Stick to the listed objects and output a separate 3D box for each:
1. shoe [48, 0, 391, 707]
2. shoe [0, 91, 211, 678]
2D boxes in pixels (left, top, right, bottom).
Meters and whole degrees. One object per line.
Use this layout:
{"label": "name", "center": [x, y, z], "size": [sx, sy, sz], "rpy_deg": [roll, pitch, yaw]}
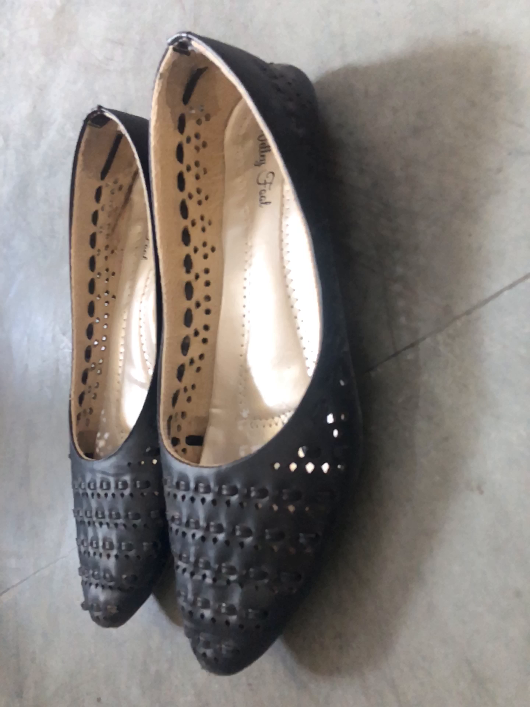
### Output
{"label": "shoe", "center": [-0.016, -0.004, 0.230], "size": [0.096, 0.073, 0.242], "rpy_deg": [-12, 71, 43]}
{"label": "shoe", "center": [-0.090, 0.011, 0.294], "size": [0.096, 0.062, 0.242], "rpy_deg": [-8, 74, 44]}
